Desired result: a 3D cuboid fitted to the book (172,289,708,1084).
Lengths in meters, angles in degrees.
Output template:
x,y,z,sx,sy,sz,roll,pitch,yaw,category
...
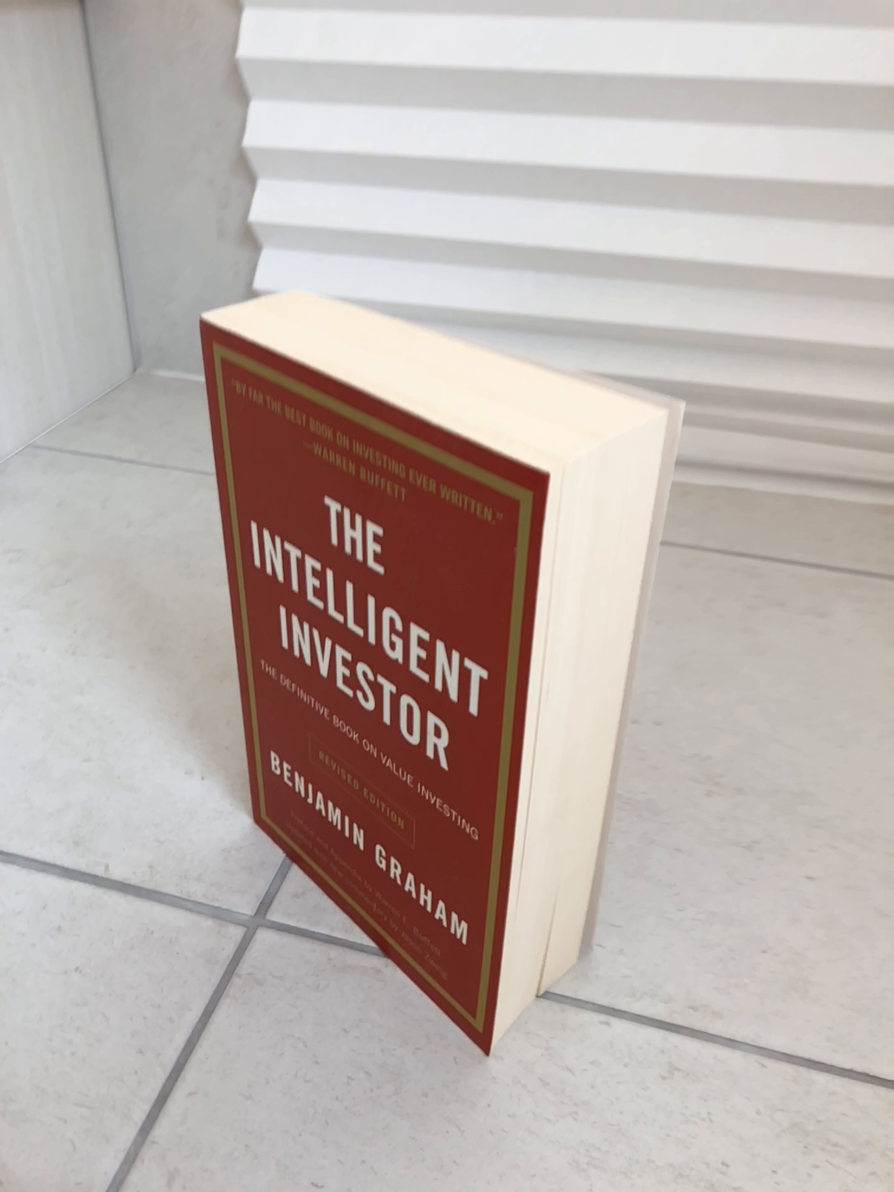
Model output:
x,y,z,sx,sy,sz,roll,pitch,yaw,category
-0.011,0.026,0.318,0.057,0.206,0.149,-26,41,-36,book
